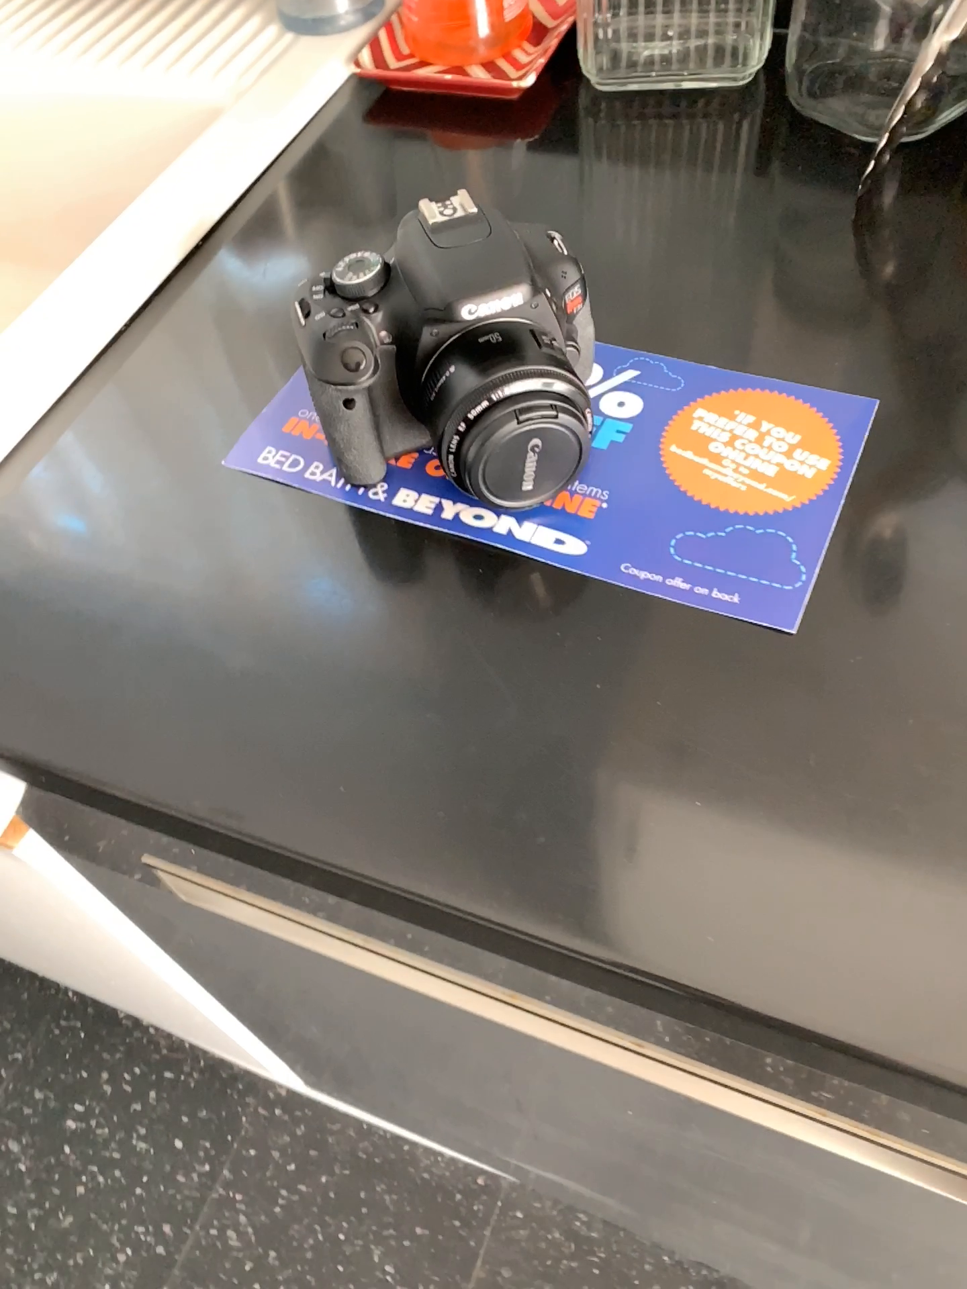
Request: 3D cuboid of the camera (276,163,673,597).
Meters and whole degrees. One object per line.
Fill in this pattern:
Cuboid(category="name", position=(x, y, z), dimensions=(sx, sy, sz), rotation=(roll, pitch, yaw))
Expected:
Cuboid(category="camera", position=(-0.005, -0.112, 0.417), dimensions=(0.122, 0.098, 0.118), rotation=(-17, 54, -6))
